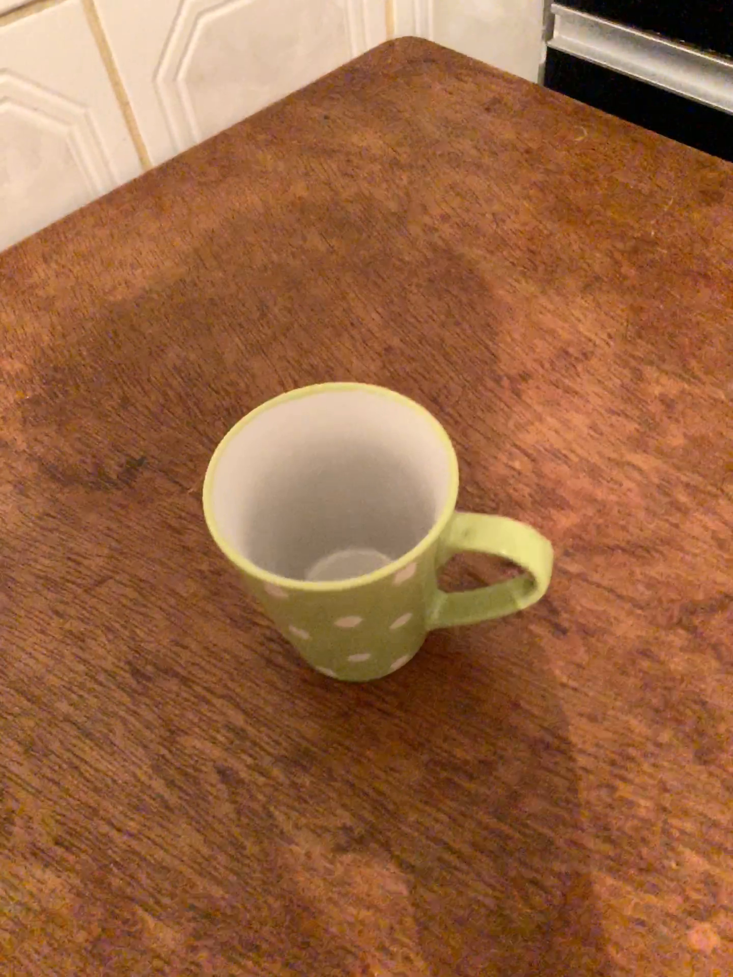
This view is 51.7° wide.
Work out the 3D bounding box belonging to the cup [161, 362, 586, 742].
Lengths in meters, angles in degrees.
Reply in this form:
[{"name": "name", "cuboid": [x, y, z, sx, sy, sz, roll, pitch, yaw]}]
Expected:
[{"name": "cup", "cuboid": [0.011, 0.024, 0.276, 0.120, 0.100, 0.090, 4, 55, 9]}]
